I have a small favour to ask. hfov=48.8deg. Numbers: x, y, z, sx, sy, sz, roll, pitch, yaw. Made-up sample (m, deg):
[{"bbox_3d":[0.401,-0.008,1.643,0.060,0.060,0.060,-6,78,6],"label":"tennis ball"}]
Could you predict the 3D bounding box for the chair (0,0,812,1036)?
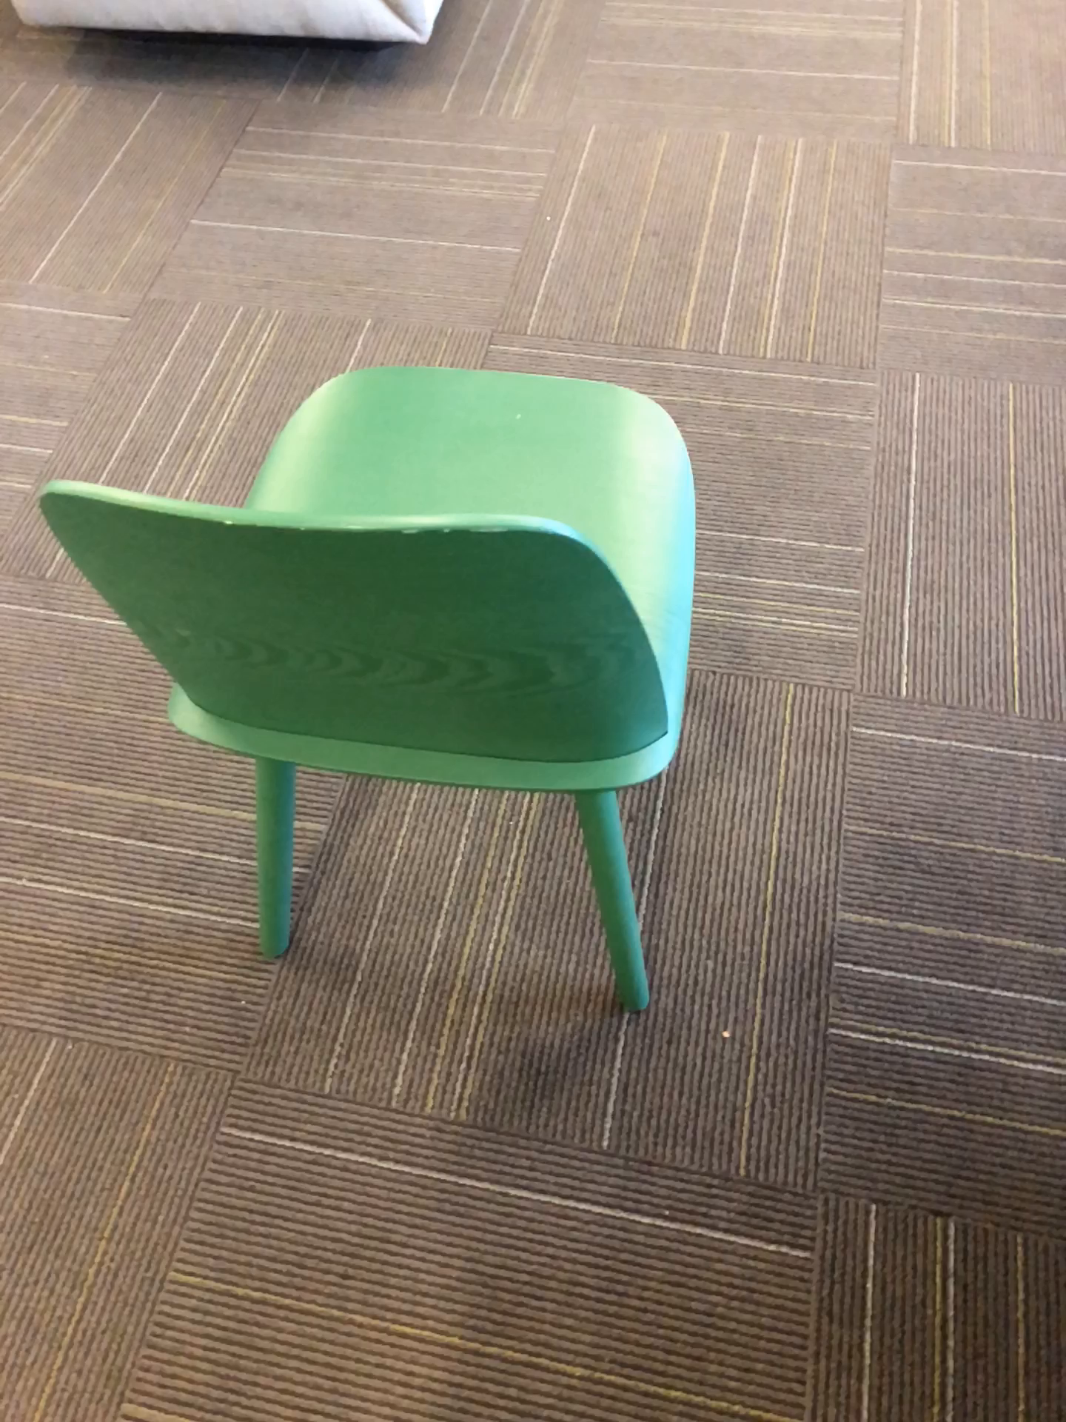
[{"bbox_3d":[-0.074,-0.126,1.045,0.500,0.778,0.501,7,56,8],"label":"chair"}]
